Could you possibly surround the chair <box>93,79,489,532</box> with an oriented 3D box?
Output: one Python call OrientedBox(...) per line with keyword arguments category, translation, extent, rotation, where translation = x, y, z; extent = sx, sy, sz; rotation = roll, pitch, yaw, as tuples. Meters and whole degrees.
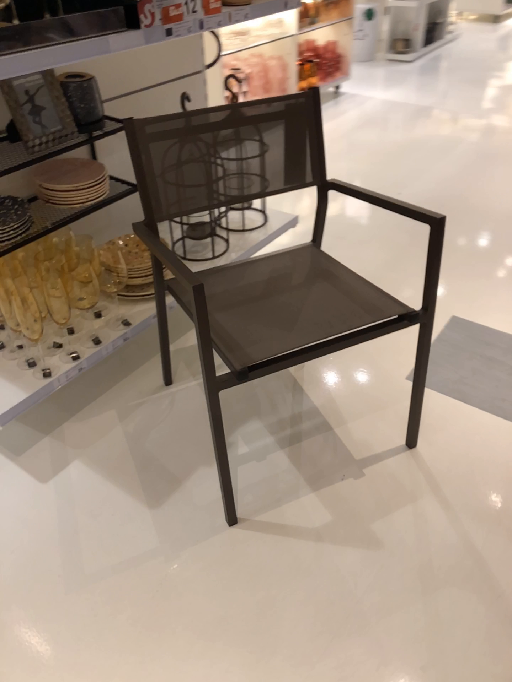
OrientedBox(category="chair", translation=(0.039, -0.117, 1.338), extent=(0.571, 0.763, 0.584), rotation=(-17, 39, -19))
